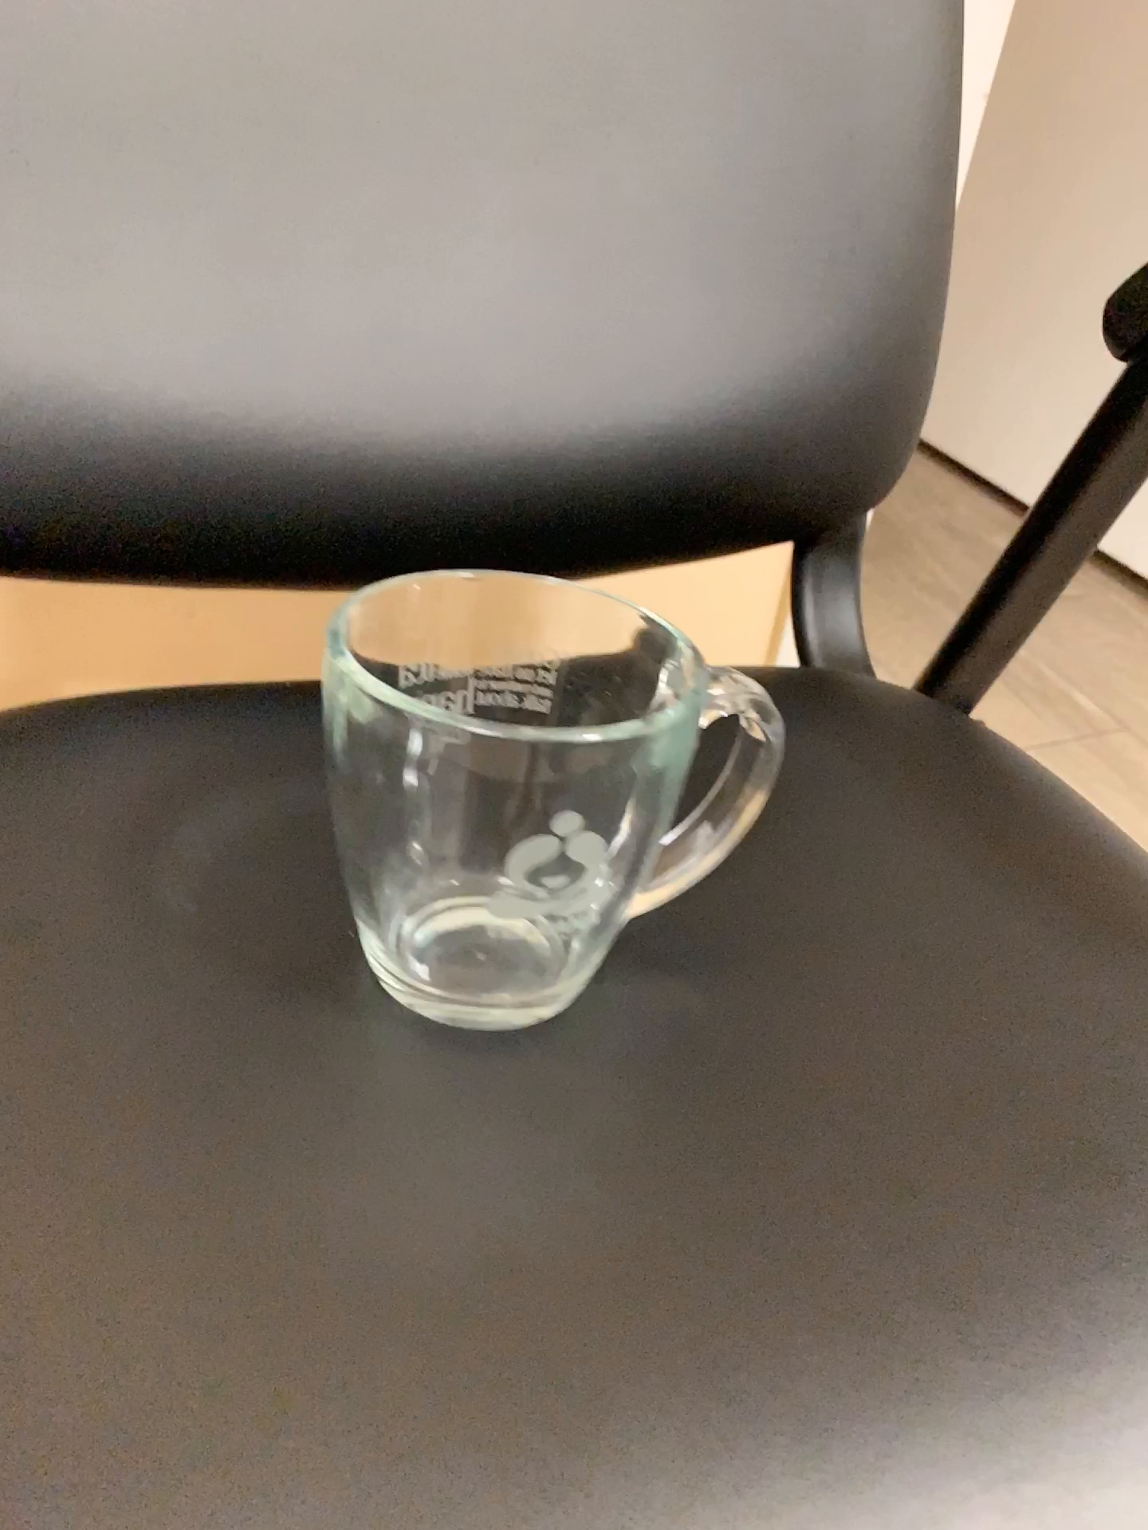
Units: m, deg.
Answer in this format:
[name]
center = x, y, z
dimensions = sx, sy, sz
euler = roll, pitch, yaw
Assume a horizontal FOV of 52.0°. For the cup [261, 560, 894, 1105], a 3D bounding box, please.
[cup]
center = -0.007, 0.009, 0.332
dimensions = 0.139, 0.100, 0.096
euler = -7, 32, -26
